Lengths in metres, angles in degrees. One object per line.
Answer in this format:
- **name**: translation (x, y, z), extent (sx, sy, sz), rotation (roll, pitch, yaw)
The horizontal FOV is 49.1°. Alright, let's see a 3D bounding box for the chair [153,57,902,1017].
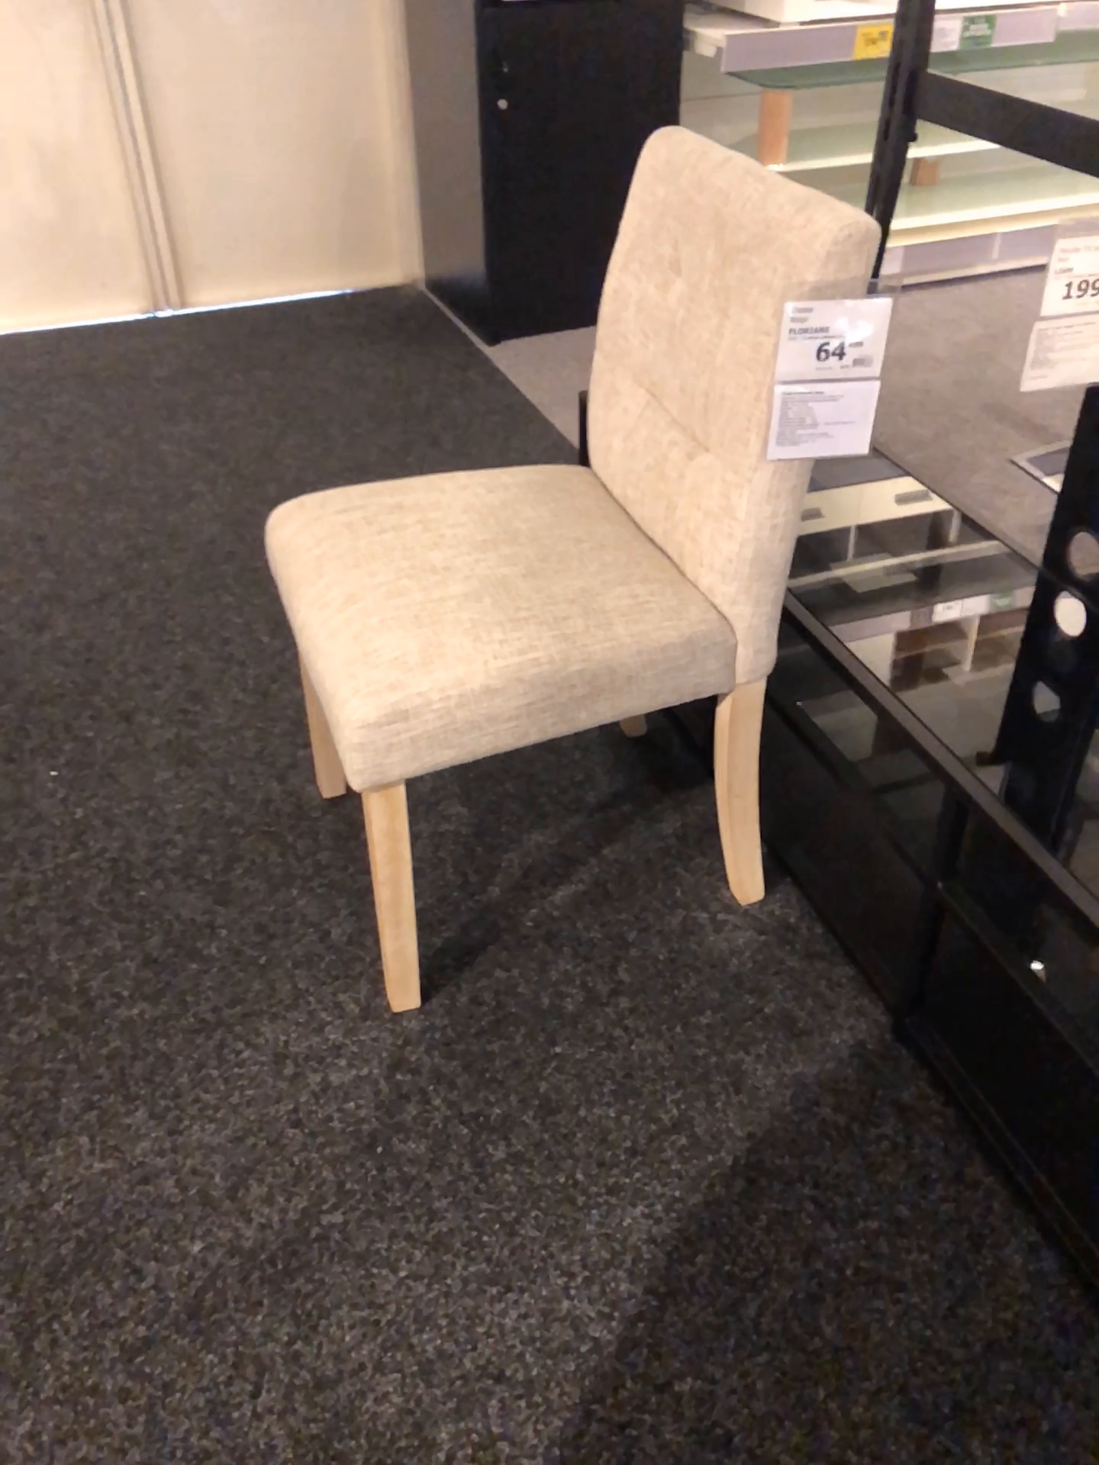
- **chair**: translation (-0.062, -0.233, 1.380), extent (0.561, 0.855, 0.552), rotation (-11, 39, -15)
